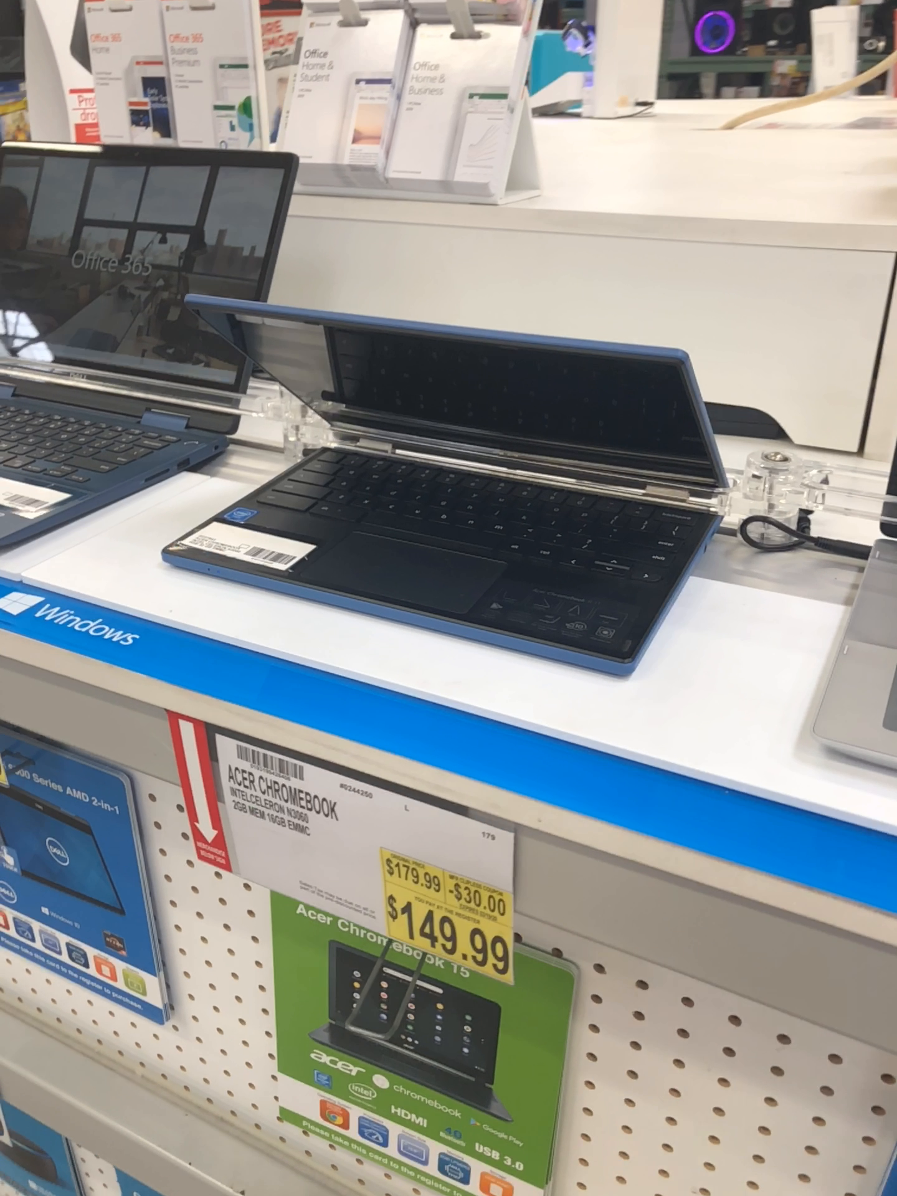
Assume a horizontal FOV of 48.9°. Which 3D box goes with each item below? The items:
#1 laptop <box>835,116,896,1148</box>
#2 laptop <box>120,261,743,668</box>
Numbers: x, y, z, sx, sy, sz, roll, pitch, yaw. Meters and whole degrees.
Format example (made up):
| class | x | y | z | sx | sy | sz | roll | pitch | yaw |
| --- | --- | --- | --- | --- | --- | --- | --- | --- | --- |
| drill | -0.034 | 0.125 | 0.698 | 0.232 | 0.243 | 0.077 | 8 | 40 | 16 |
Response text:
| class | x | y | z | sx | sy | sz | roll | pitch | yaw |
| --- | --- | --- | --- | --- | --- | --- | --- | --- | --- |
| laptop | 0.368 | -0.050 | 0.373 | 0.355 | 0.216 | 0.246 | 13 | 32 | 25 |
| laptop | -0.003 | -0.095 | 0.559 | 0.280 | 0.128 | 0.184 | 13 | 32 | 23 |
